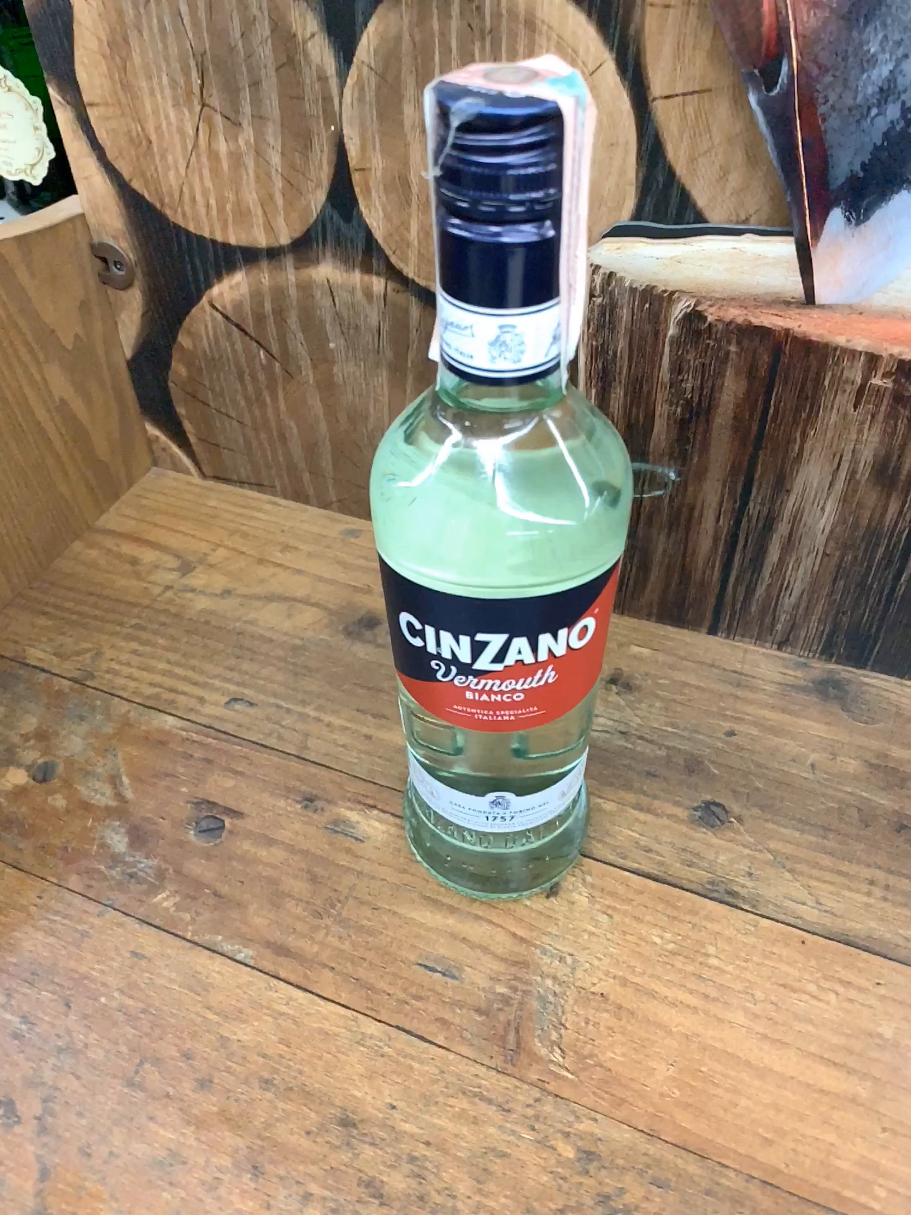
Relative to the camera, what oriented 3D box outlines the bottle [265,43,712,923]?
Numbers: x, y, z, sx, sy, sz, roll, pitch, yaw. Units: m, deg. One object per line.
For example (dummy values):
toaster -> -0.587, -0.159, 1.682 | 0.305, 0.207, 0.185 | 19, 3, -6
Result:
bottle -> 0.011, -0.010, 0.251 | 0.070, 0.231, 0.070 | -1, 44, 1
